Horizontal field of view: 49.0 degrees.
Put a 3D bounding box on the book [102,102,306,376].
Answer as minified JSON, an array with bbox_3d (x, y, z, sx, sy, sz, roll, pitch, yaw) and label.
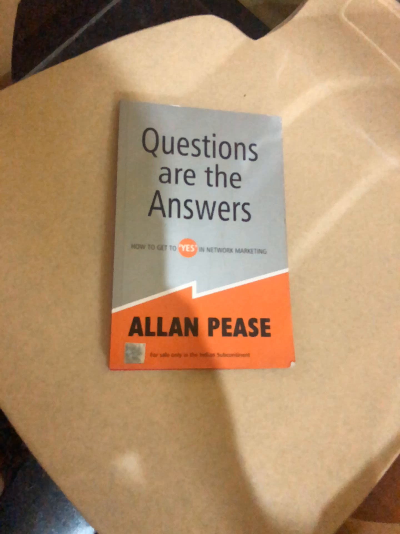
[{"bbox_3d":[0.004,-0.023,0.348,0.150,0.020,0.210,1,80,-8],"label":"book"}]
